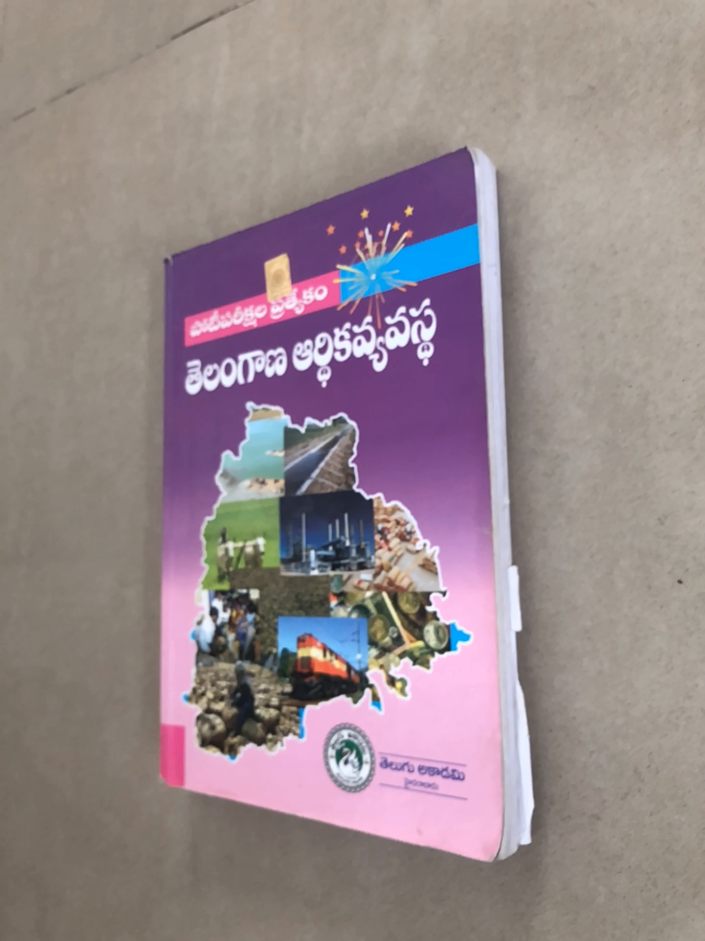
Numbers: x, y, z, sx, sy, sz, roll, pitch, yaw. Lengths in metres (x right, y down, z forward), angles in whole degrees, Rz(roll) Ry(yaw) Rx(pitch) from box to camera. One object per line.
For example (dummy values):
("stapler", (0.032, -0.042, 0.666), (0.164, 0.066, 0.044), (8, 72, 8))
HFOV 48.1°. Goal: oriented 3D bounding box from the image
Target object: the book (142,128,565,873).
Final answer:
("book", (-0.013, 0.014, 0.356), (0.192, 0.040, 0.268), (-6, 84, 36))
